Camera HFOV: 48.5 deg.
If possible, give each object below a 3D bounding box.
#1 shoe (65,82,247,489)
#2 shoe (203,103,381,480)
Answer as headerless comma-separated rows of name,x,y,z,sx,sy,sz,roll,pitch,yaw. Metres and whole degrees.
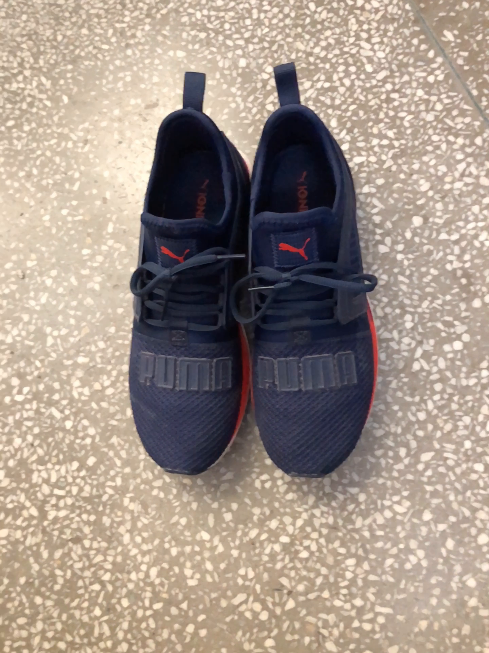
shoe,-0.058,-0.025,0.405,0.100,0.100,0.270,-3,79,8
shoe,0.038,-0.014,0.391,0.100,0.120,0.230,-4,78,14
